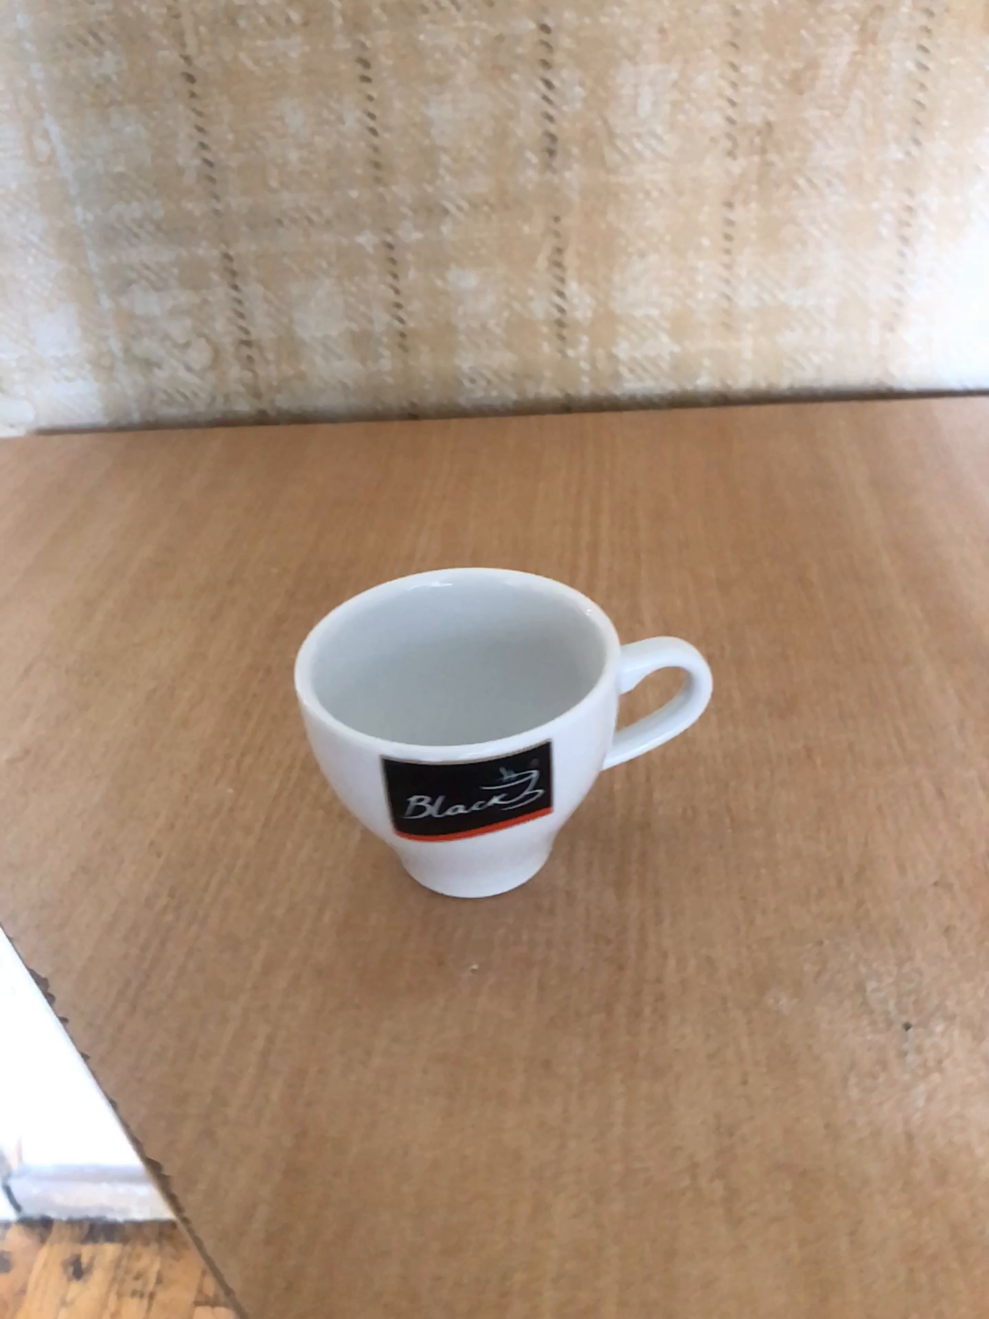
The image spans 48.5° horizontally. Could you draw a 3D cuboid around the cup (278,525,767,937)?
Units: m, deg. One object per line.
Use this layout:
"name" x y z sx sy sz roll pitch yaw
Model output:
"cup" 0.003 0.014 0.277 0.104 0.050 0.081 -9 34 -4
